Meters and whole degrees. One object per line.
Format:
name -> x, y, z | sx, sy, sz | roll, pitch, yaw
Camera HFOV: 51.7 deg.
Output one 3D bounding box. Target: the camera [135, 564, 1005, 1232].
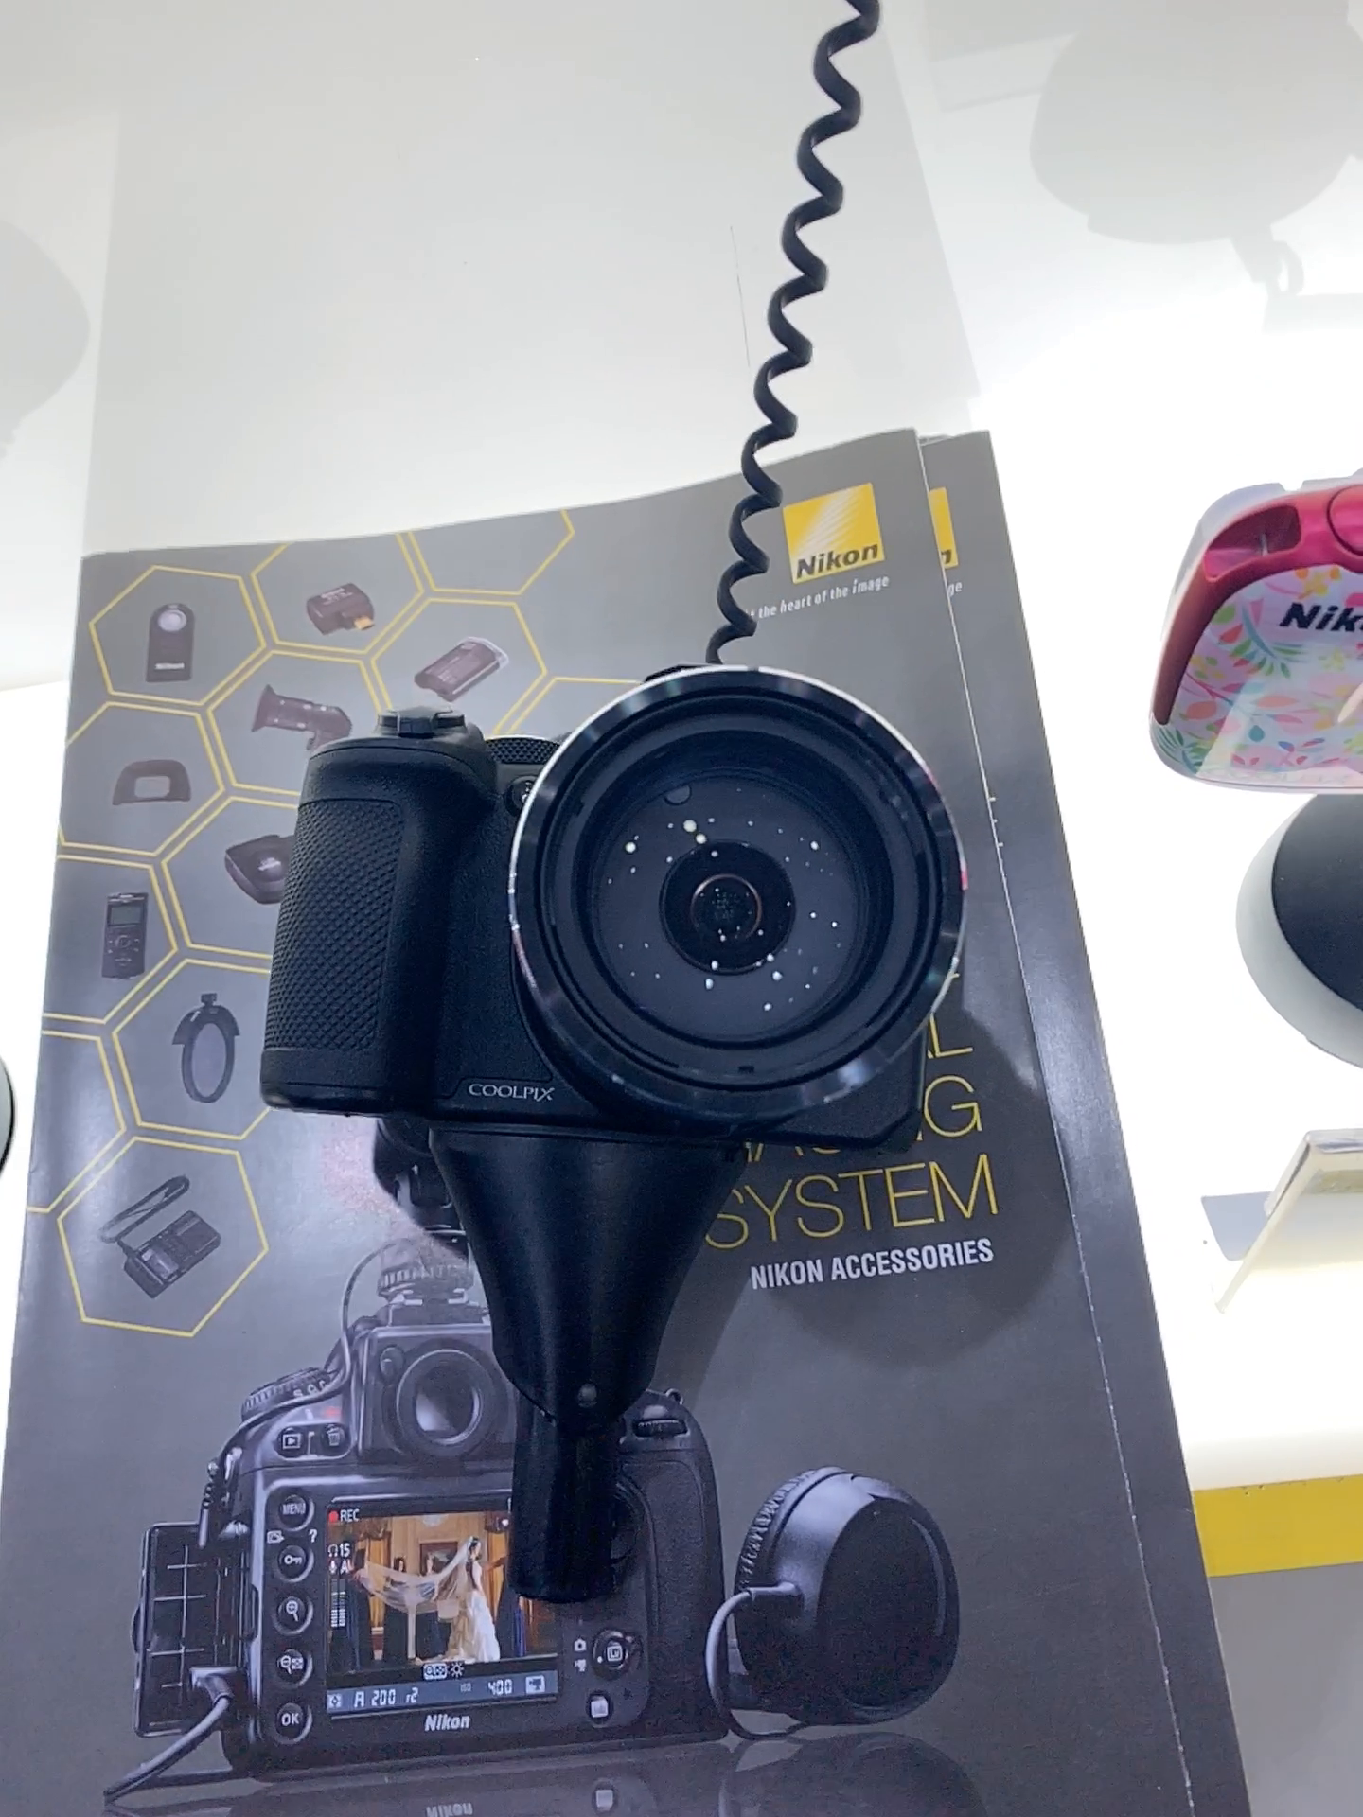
camera -> -0.011, 0.001, 0.244 | 0.120, 0.080, 0.090 | 4, 82, 9
